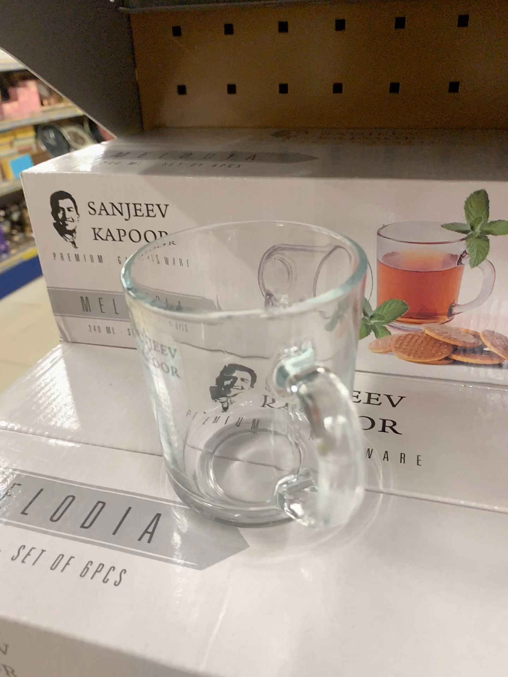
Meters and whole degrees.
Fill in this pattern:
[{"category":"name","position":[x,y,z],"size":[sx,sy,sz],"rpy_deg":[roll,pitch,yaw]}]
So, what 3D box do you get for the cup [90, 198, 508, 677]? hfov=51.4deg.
[{"category":"cup","position":[0.010,0.014,0.156],"size":[0.070,0.080,0.100],"rpy_deg":[-20,34,-31]}]
